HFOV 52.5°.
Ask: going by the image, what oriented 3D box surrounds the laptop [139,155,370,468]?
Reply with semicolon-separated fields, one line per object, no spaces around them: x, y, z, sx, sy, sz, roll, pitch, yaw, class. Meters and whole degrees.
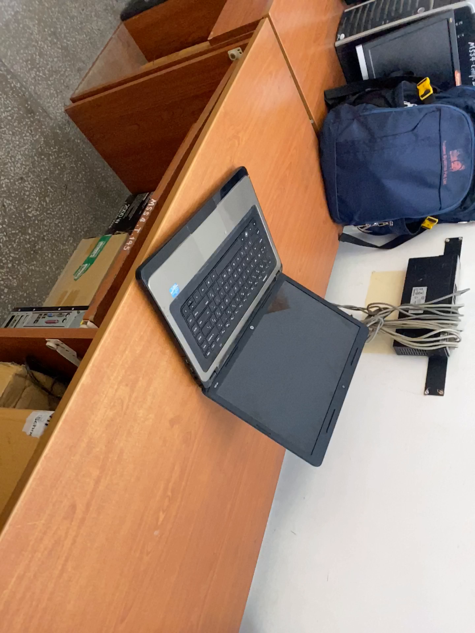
0.079;-0.014;0.914;0.384;0.158;0.427;-56;133;-41;laptop
